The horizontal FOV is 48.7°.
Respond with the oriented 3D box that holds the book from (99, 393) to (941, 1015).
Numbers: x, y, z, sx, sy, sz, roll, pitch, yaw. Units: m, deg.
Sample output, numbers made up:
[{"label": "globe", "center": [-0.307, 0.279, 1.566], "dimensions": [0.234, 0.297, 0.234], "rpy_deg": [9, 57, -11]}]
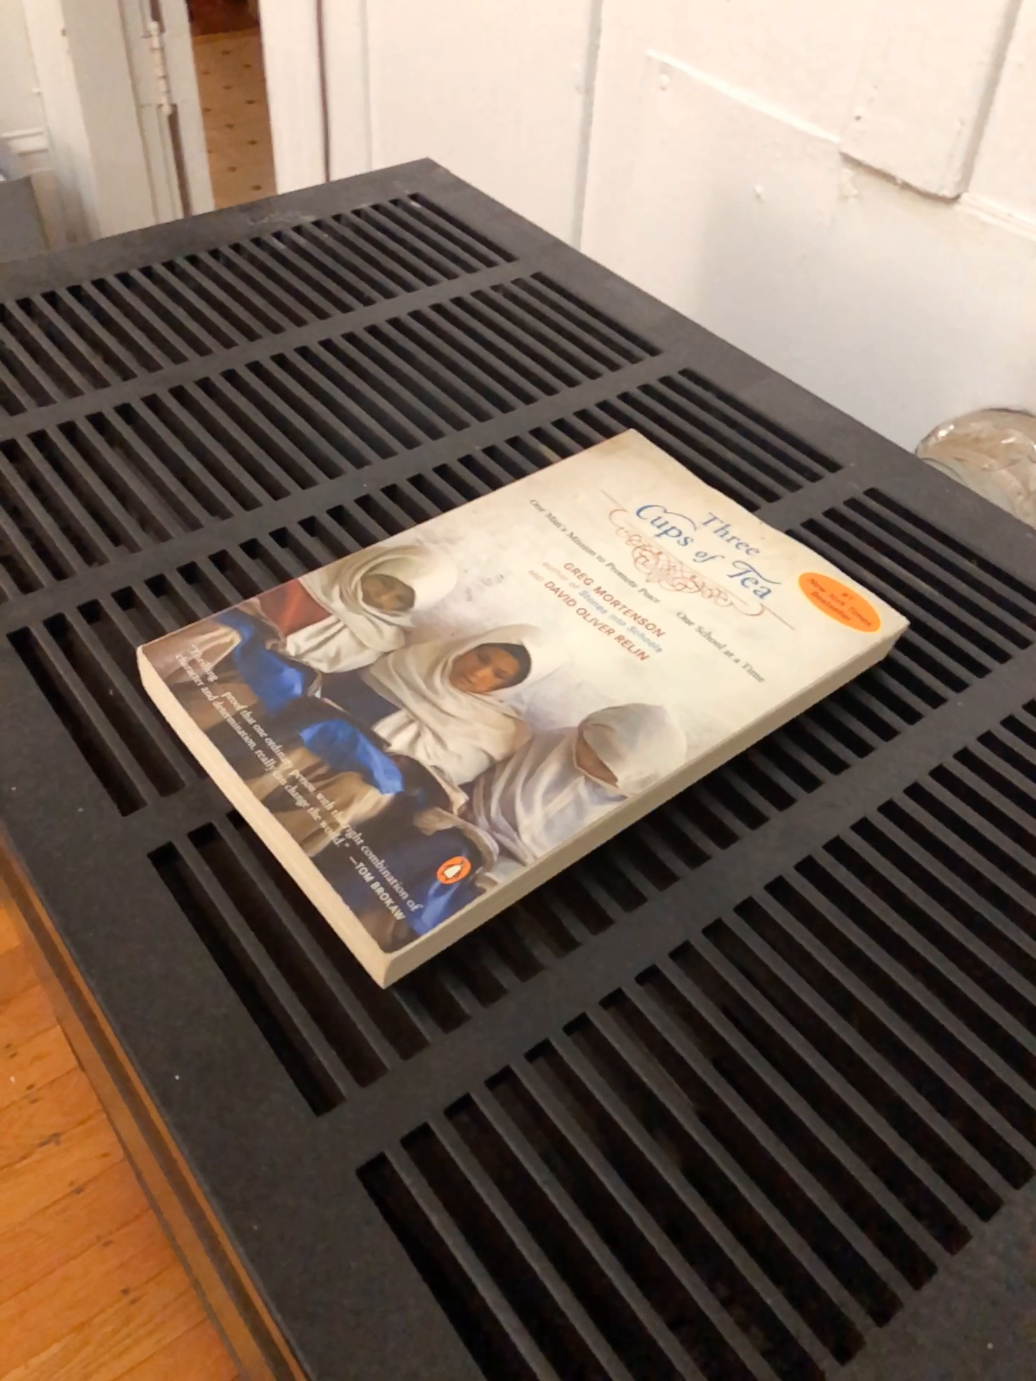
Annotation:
[{"label": "book", "center": [0.006, -0.017, 0.361], "dimensions": [0.221, 0.030, 0.140], "rpy_deg": [-29, 54, -29]}]
